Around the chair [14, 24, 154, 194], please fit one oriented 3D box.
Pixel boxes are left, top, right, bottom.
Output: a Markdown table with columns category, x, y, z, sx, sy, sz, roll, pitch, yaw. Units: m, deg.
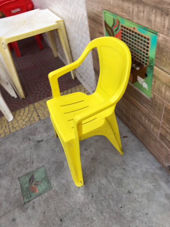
| category | x | y | z | sx | sy | sz | roll | pitch | yaw |
| --- | --- | --- | --- | --- | --- | --- | --- | --- | --- |
| chair | -0.014 | -0.036 | 1.231 | 0.540 | 0.745 | 0.644 | -22 | 44 | -10 |
